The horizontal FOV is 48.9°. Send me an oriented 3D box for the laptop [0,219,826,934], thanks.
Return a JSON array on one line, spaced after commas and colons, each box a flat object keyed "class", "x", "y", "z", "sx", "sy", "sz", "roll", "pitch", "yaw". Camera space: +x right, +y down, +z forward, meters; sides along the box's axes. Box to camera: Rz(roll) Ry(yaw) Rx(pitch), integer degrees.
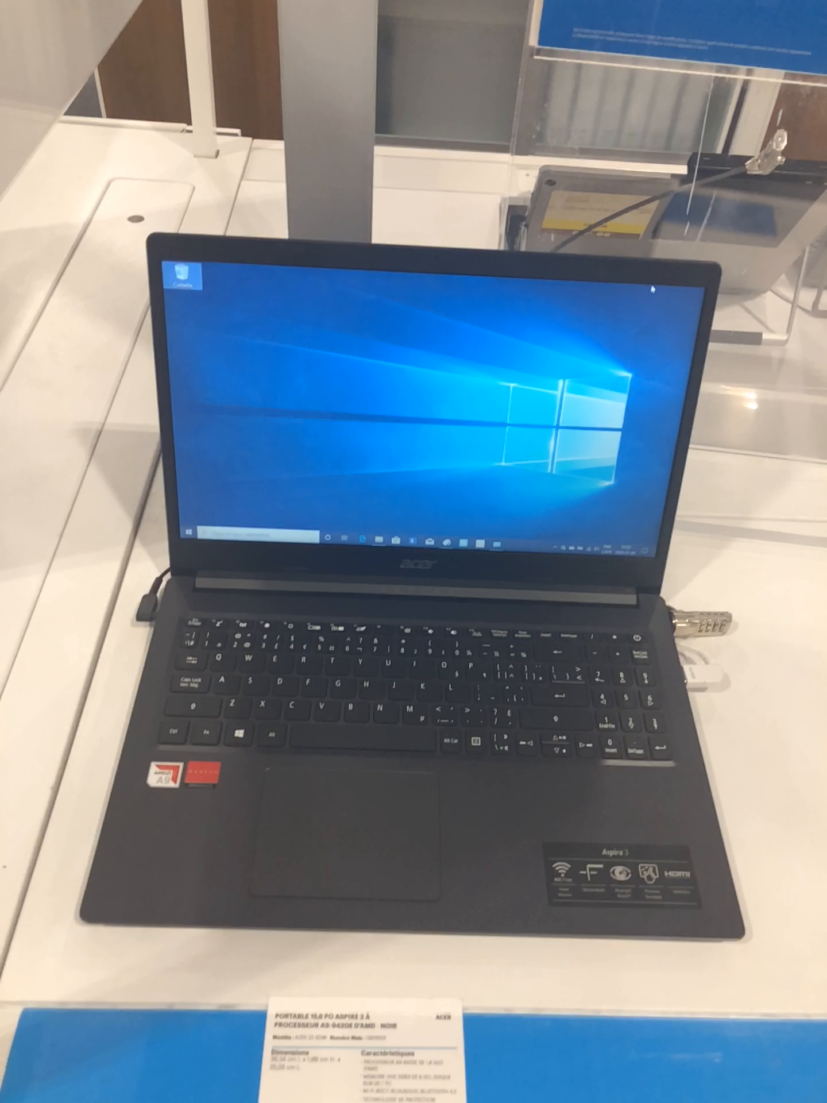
[{"class": "laptop", "x": 0.008, "y": 0.001, "z": 0.553, "sx": 0.367, "sy": 0.212, "sz": 0.351, "roll": 3, "pitch": 48, "yaw": -2}]
